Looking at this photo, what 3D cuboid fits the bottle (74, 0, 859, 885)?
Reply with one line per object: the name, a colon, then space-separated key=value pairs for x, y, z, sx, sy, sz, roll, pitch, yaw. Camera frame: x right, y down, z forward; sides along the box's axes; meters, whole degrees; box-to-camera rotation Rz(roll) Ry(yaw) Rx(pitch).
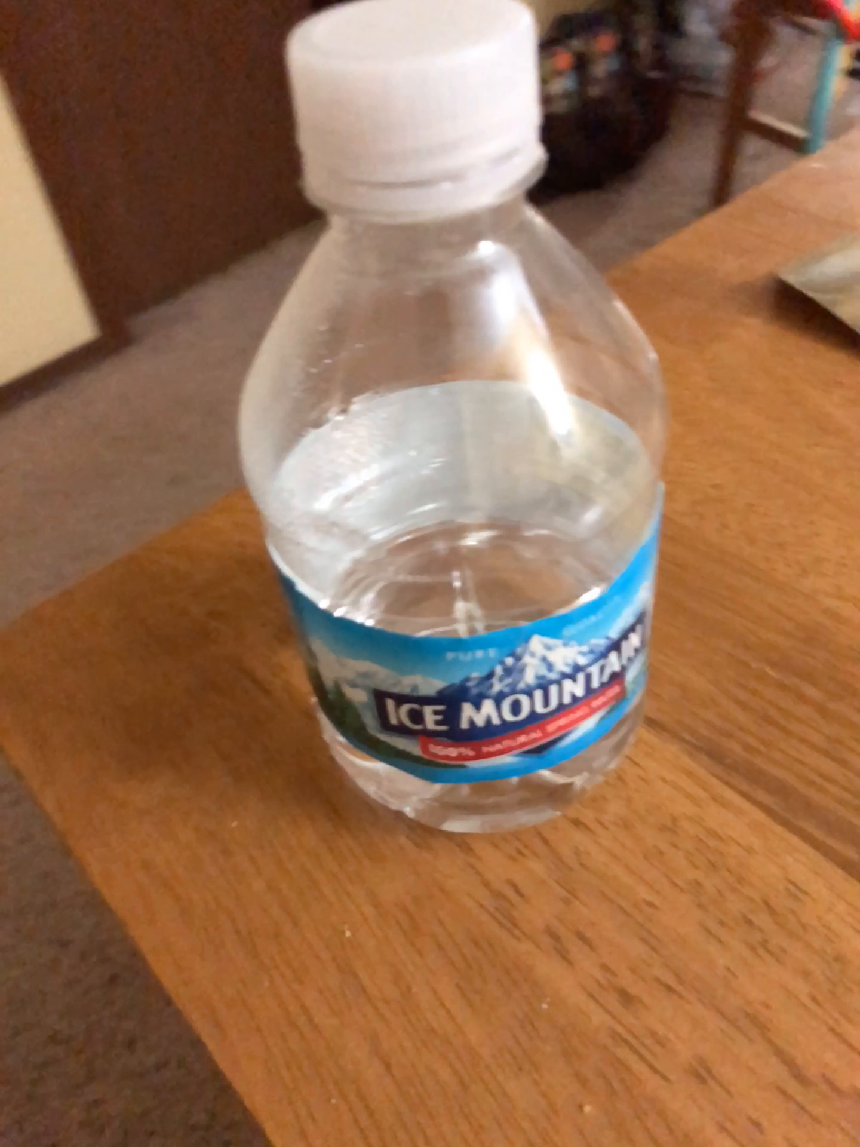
bottle: x=0.004 y=-0.023 z=0.140 sx=0.070 sy=0.110 sz=0.070 roll=-4 pitch=44 yaw=4
